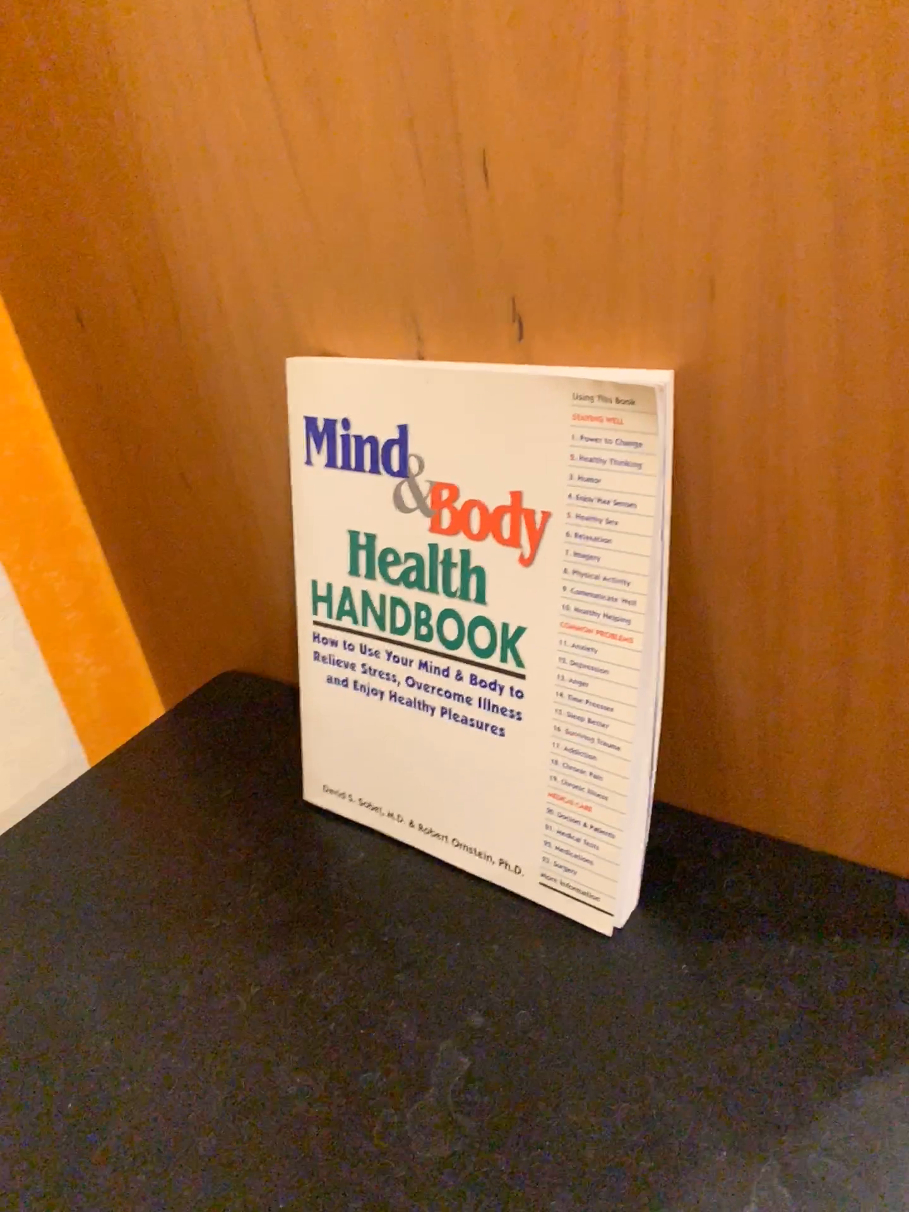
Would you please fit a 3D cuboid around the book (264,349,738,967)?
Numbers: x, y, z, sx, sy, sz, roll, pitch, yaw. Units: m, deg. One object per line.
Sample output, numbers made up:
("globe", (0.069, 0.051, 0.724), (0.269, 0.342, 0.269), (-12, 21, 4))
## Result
("book", (0.004, 0.008, 0.416), (0.211, 0.229, 0.040), (14, 19, 35))
